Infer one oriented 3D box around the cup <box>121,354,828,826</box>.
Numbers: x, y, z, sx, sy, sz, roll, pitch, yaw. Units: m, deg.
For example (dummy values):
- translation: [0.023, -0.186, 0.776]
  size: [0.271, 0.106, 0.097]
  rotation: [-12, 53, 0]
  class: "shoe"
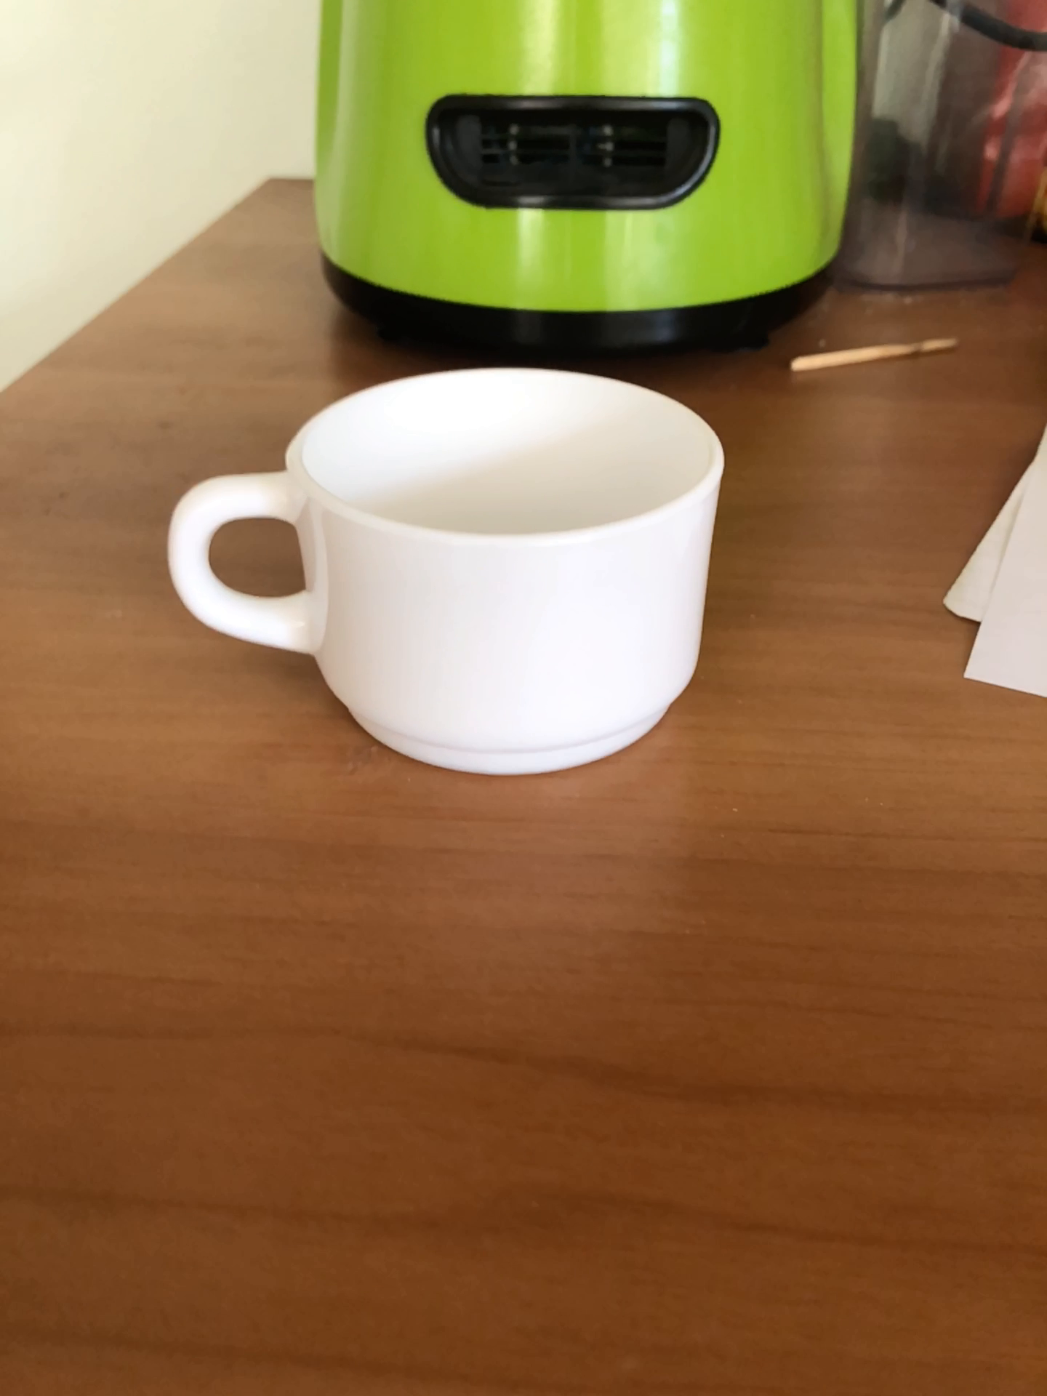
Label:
- translation: [-0.009, -0.024, 0.213]
  size: [0.100, 0.050, 0.080]
  rotation: [-2, 35, -3]
  class: "cup"
